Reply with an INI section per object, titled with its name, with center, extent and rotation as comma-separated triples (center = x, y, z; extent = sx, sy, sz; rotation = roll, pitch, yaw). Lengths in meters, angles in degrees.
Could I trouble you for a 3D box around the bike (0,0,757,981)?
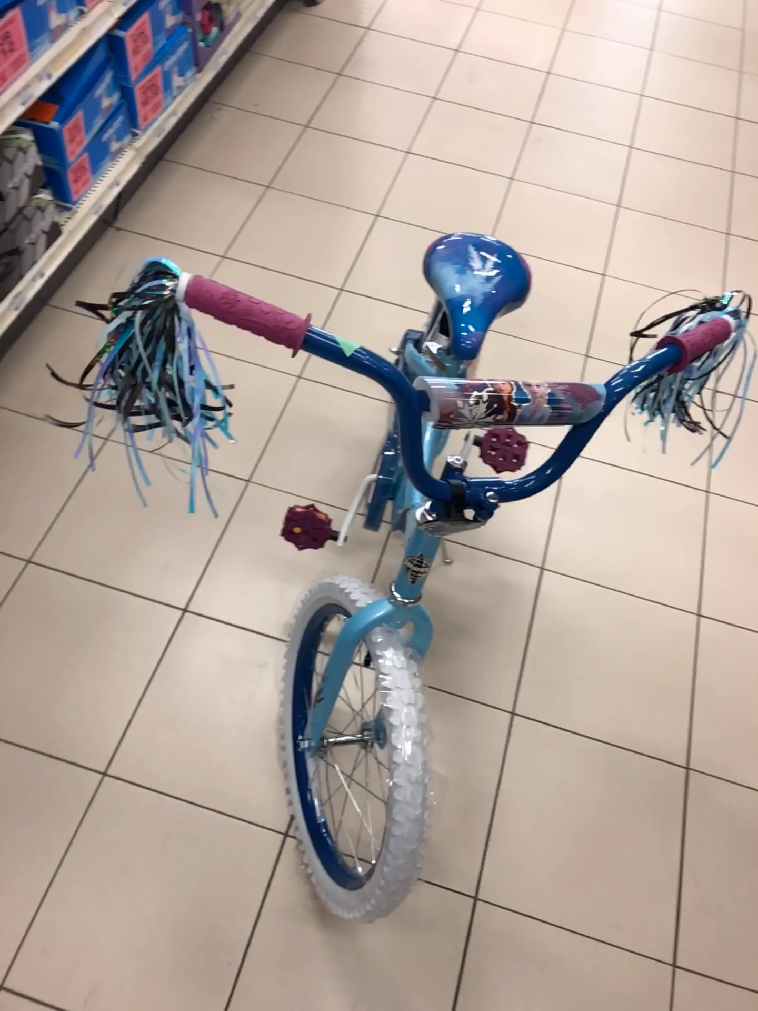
[bike]
center = 0.108, -0.096, 1.152
extent = 0.640, 0.954, 1.180
rotation = 9, 52, 0
